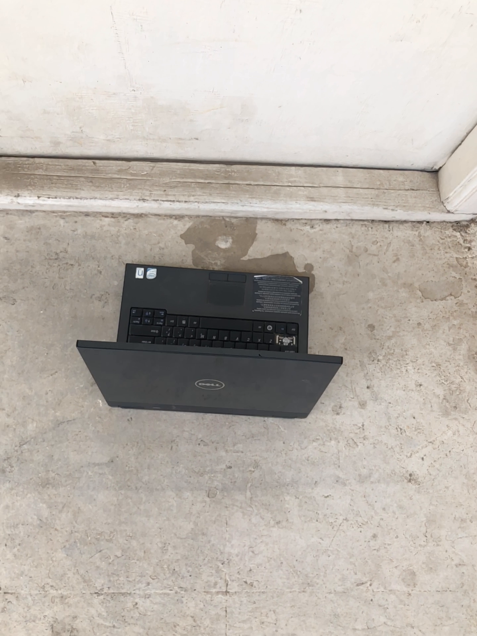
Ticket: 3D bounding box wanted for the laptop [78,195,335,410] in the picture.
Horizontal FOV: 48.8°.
[{"bbox_3d":[-0.038,-0.001,0.739,0.279,0.253,0.224,4,77,-1],"label":"laptop"}]
